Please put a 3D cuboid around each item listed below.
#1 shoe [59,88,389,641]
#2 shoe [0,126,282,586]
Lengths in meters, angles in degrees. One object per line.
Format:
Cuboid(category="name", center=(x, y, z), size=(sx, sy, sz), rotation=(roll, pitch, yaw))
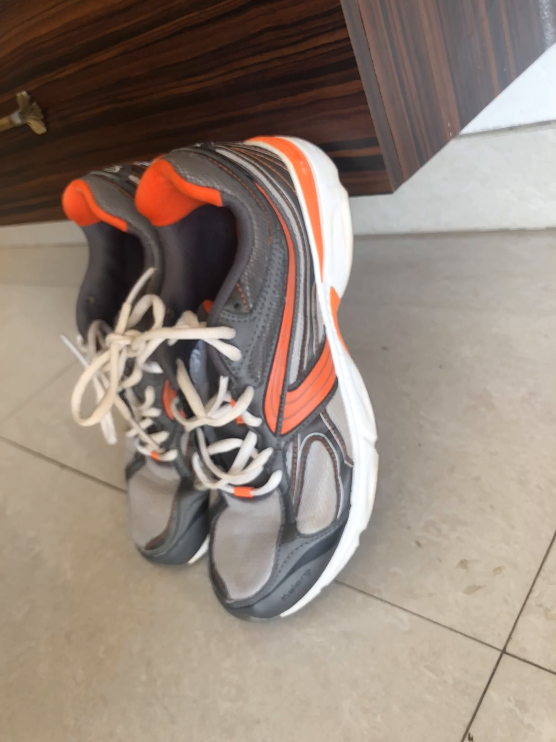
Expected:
Cuboid(category="shoe", center=(-0.026, -0.008, 0.367), size=(0.120, 0.259, 0.110), rotation=(4, 15, 44))
Cuboid(category="shoe", center=(-0.091, -0.013, 0.429), size=(0.120, 0.269, 0.100), rotation=(3, 16, 37))
